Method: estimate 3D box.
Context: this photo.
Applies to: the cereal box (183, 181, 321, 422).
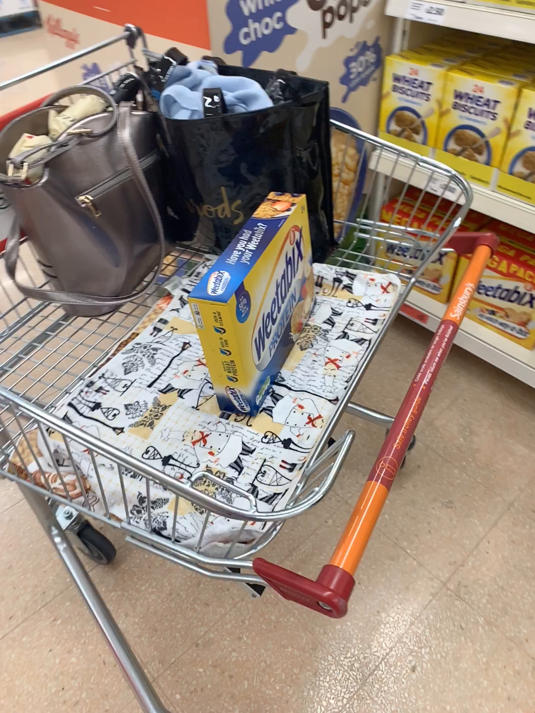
[{"bbox_3d":[-0.003,-0.082,0.725,0.060,0.198,0.262,8,43,21],"label":"cereal box"}]
